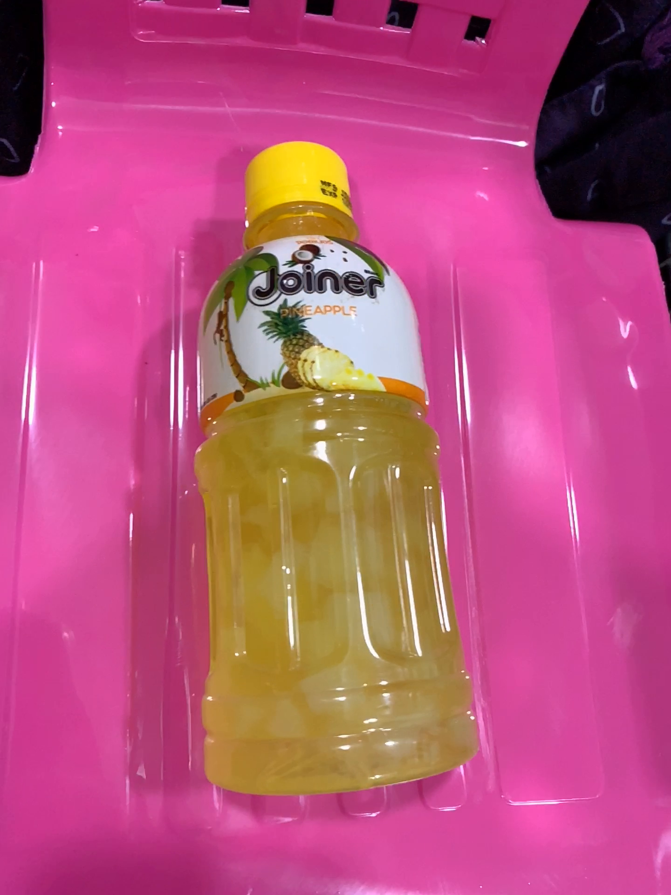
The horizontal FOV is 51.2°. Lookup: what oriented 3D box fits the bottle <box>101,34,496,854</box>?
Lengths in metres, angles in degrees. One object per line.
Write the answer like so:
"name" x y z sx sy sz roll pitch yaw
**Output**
"bottle" -0.009 -0.002 0.168 0.070 0.060 0.160 -5 79 5
